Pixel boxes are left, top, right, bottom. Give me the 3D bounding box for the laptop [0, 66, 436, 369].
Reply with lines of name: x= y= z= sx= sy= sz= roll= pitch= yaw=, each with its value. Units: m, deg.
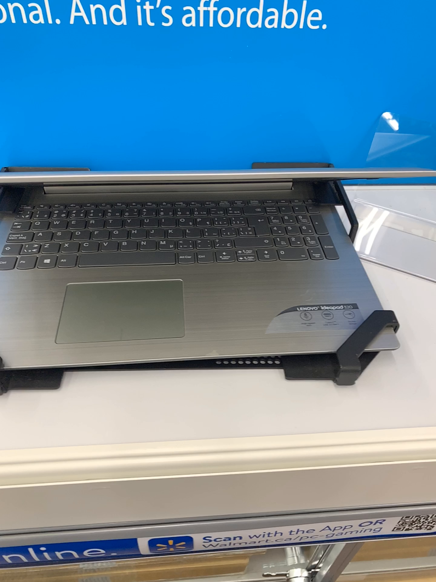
laptop: x=-0.036 y=-0.073 z=0.350 sx=0.324 sy=0.110 sz=0.220 roll=-2 pitch=46 yaw=-6
